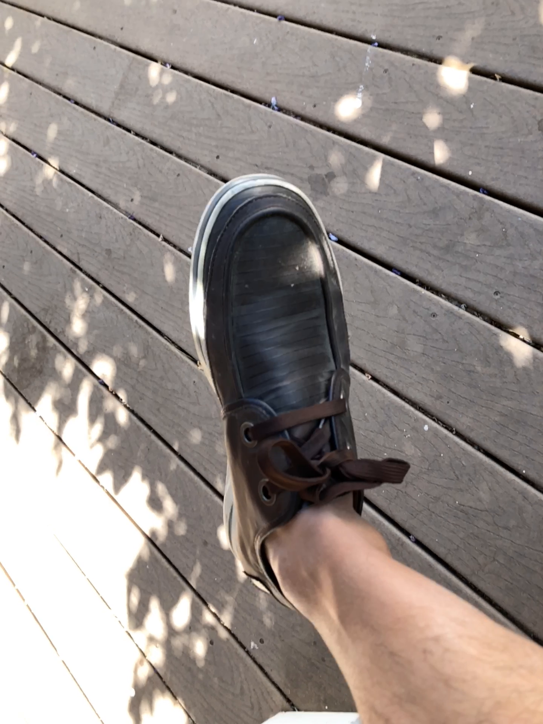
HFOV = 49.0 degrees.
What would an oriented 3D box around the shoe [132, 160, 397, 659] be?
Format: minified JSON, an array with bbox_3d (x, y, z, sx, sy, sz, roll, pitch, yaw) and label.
[{"bbox_3d":[0.005,0.033,0.364,0.092,0.102,0.275,40,143,53],"label":"shoe"}]
